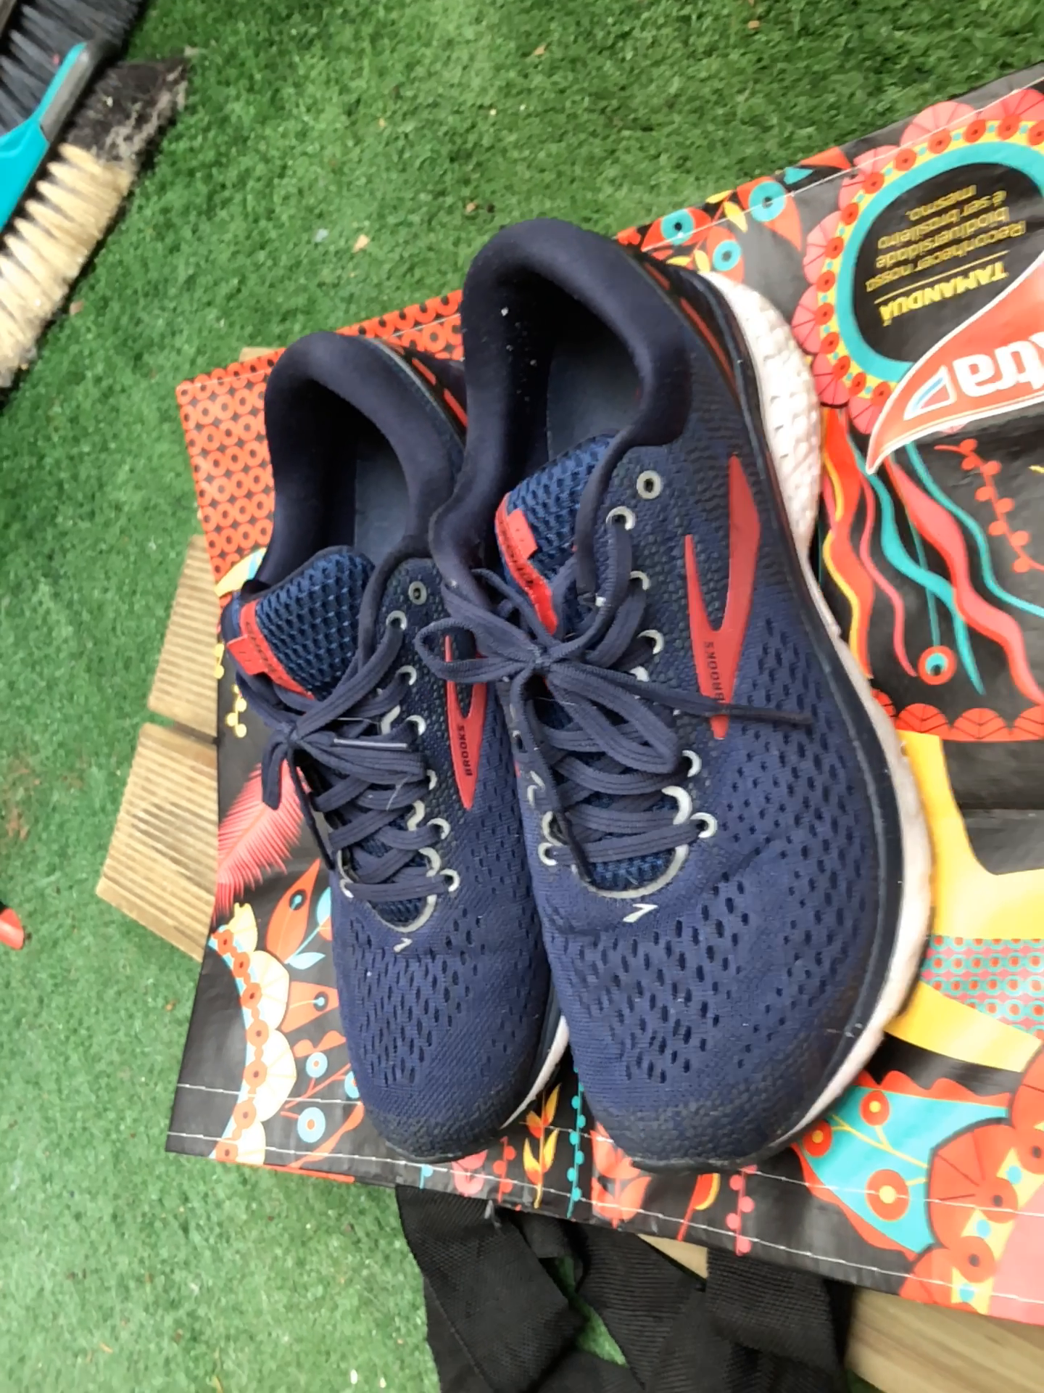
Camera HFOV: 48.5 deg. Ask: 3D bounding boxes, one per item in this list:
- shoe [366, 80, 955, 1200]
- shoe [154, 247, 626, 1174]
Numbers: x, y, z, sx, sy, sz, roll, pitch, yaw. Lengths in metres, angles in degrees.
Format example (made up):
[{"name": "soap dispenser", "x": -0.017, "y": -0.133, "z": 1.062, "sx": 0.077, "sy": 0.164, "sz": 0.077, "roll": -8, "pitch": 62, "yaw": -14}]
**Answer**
[{"name": "shoe", "x": 0.032, "y": -0.011, "z": 0.329, "sx": 0.100, "sy": 0.099, "sz": 0.265, "roll": -16, "pitch": 71, "yaw": 37}, {"name": "shoe", "x": -0.047, "y": 0.009, "z": 0.393, "sx": 0.108, "sy": 0.099, "sz": 0.265, "roll": -14, "pitch": 72, "yaw": 38}]
